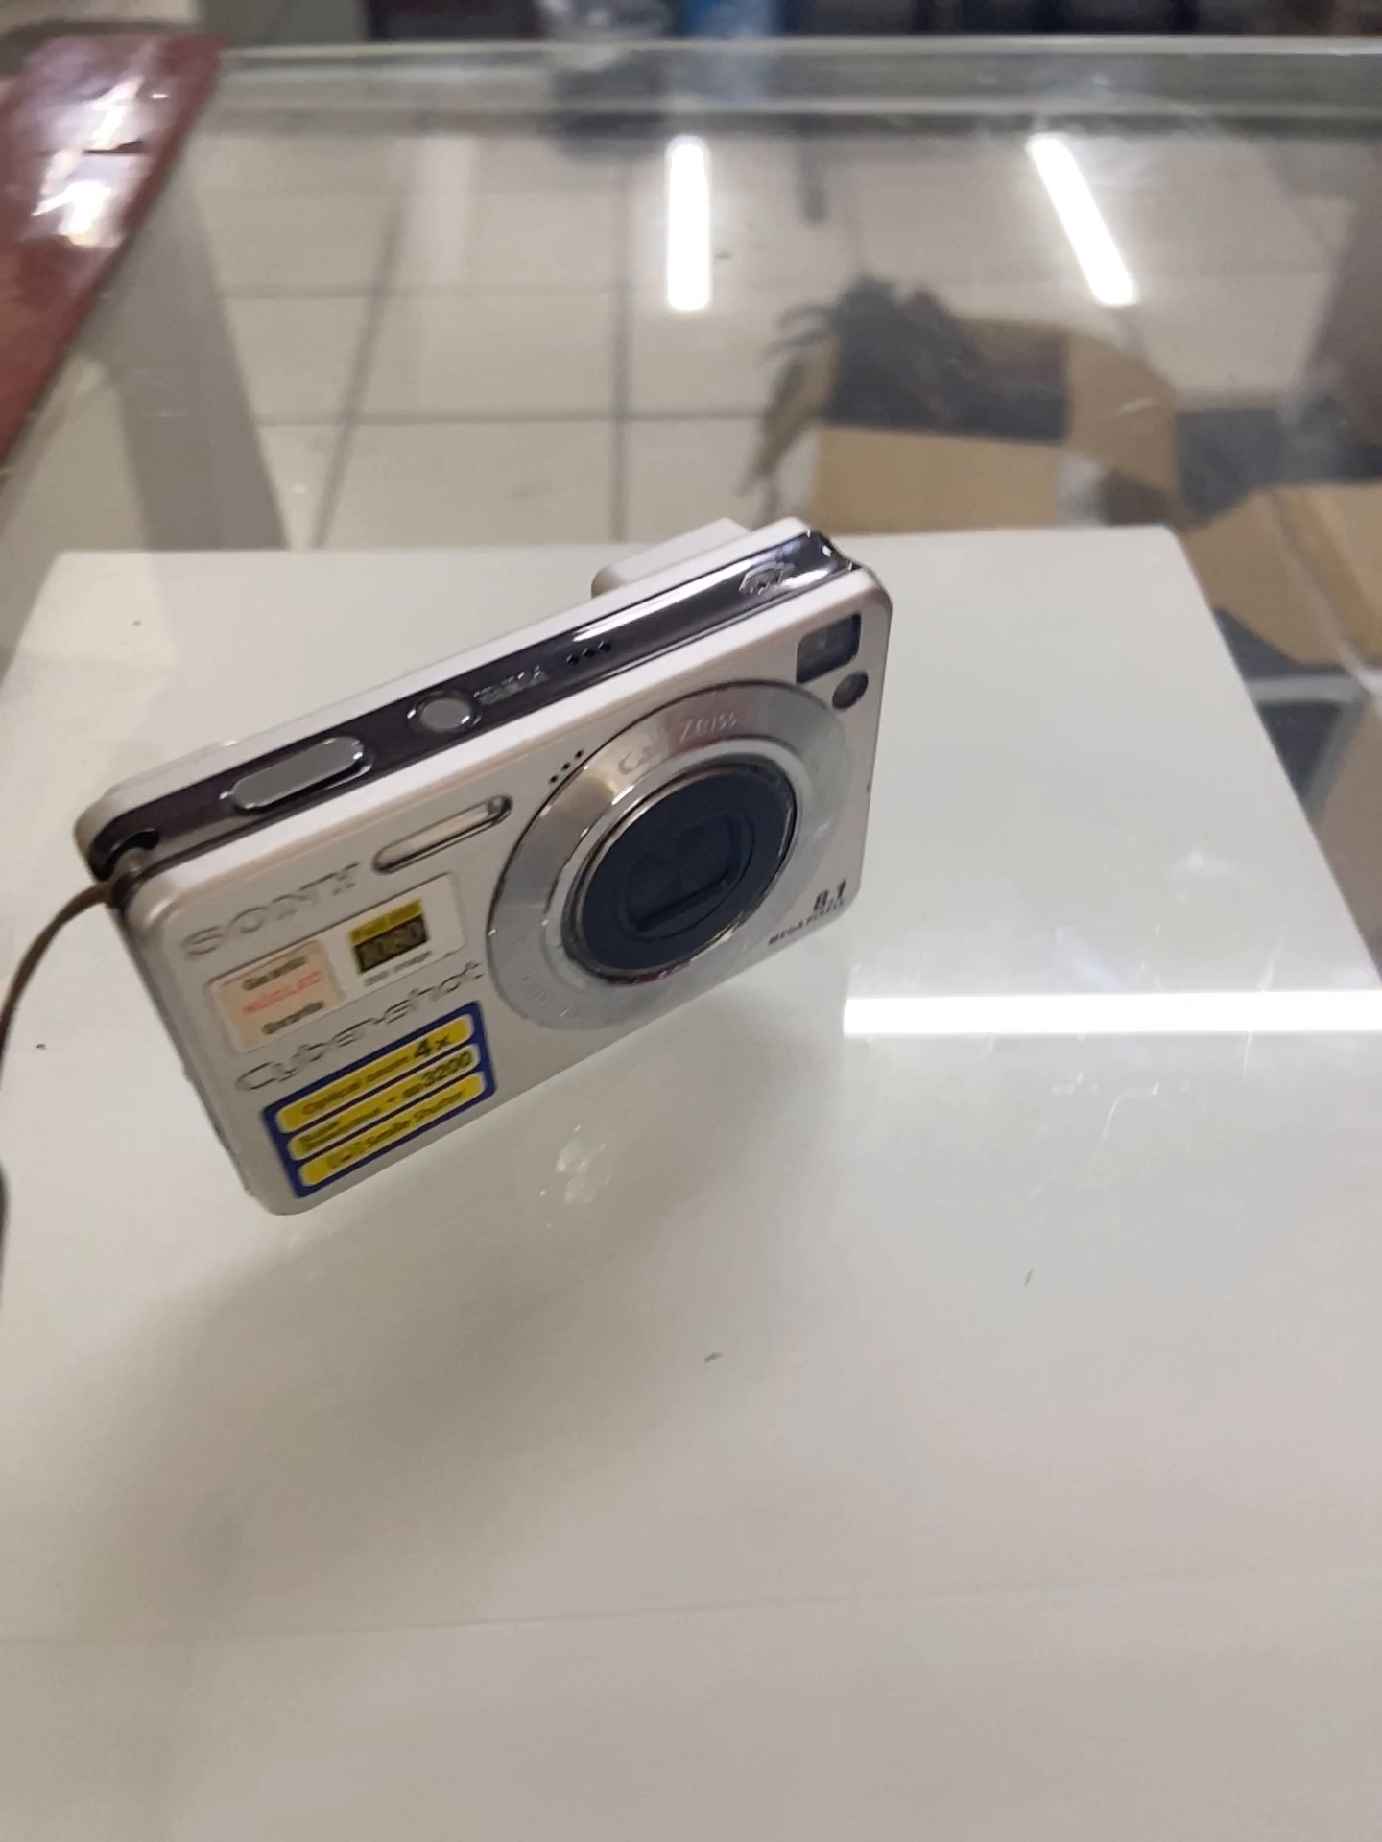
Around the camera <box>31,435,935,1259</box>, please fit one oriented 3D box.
[{"bbox_3d":[-0.018,-0.010,0.172,0.090,0.060,0.030,-29,54,-23],"label":"camera"}]
